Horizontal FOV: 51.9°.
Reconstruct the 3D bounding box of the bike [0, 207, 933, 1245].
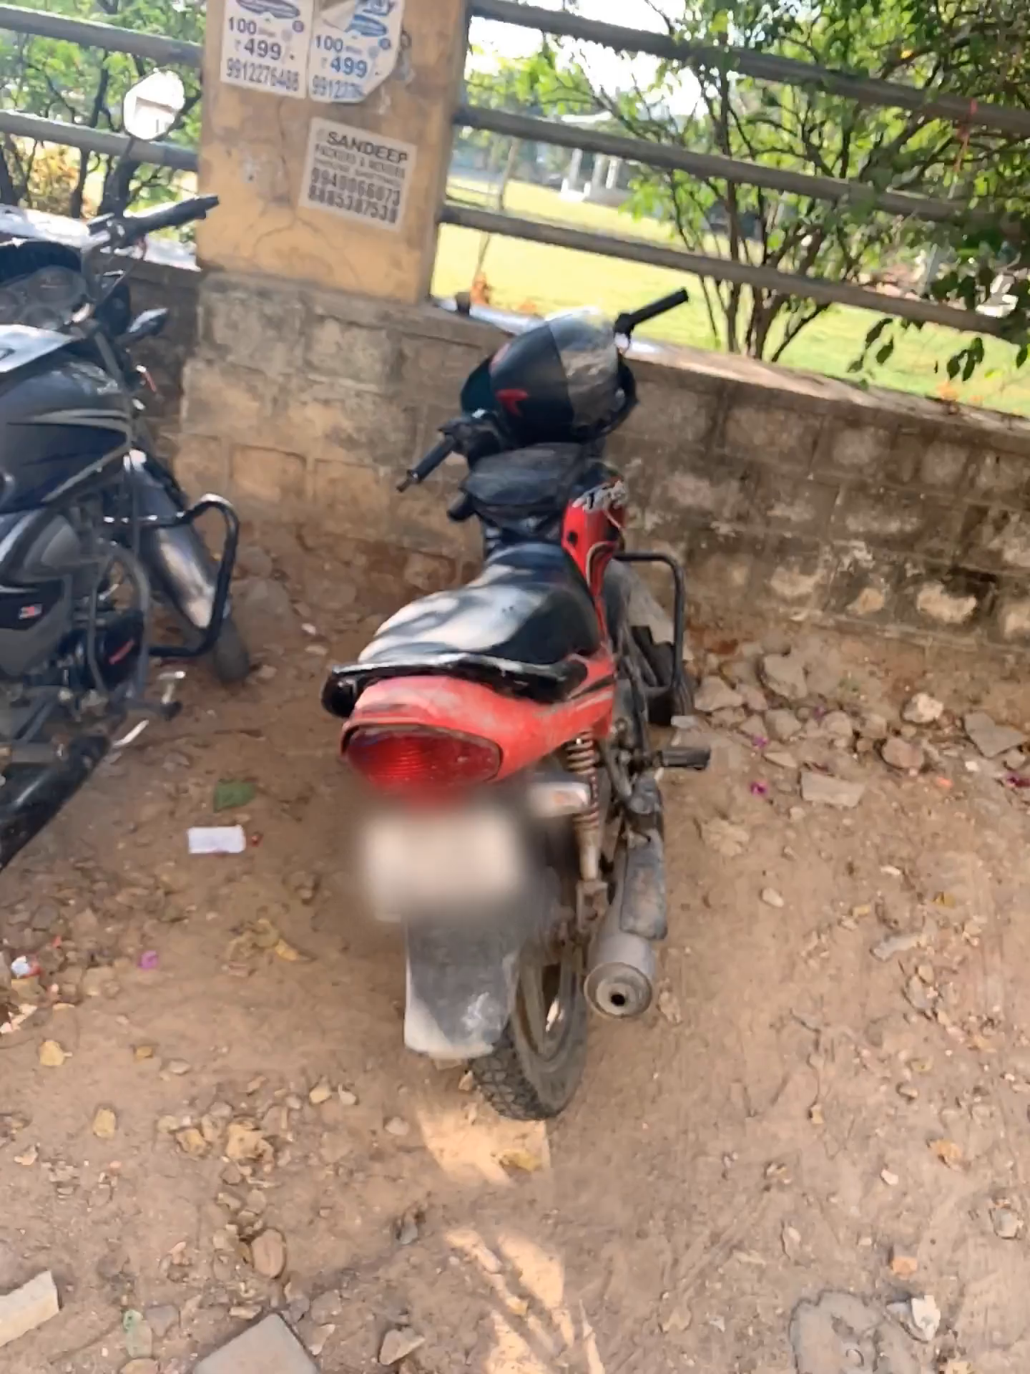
[{"bbox_3d":[-0.094,-0.129,2.076,1.063,1.246,1.603,13,24,3],"label":"bike"}]
